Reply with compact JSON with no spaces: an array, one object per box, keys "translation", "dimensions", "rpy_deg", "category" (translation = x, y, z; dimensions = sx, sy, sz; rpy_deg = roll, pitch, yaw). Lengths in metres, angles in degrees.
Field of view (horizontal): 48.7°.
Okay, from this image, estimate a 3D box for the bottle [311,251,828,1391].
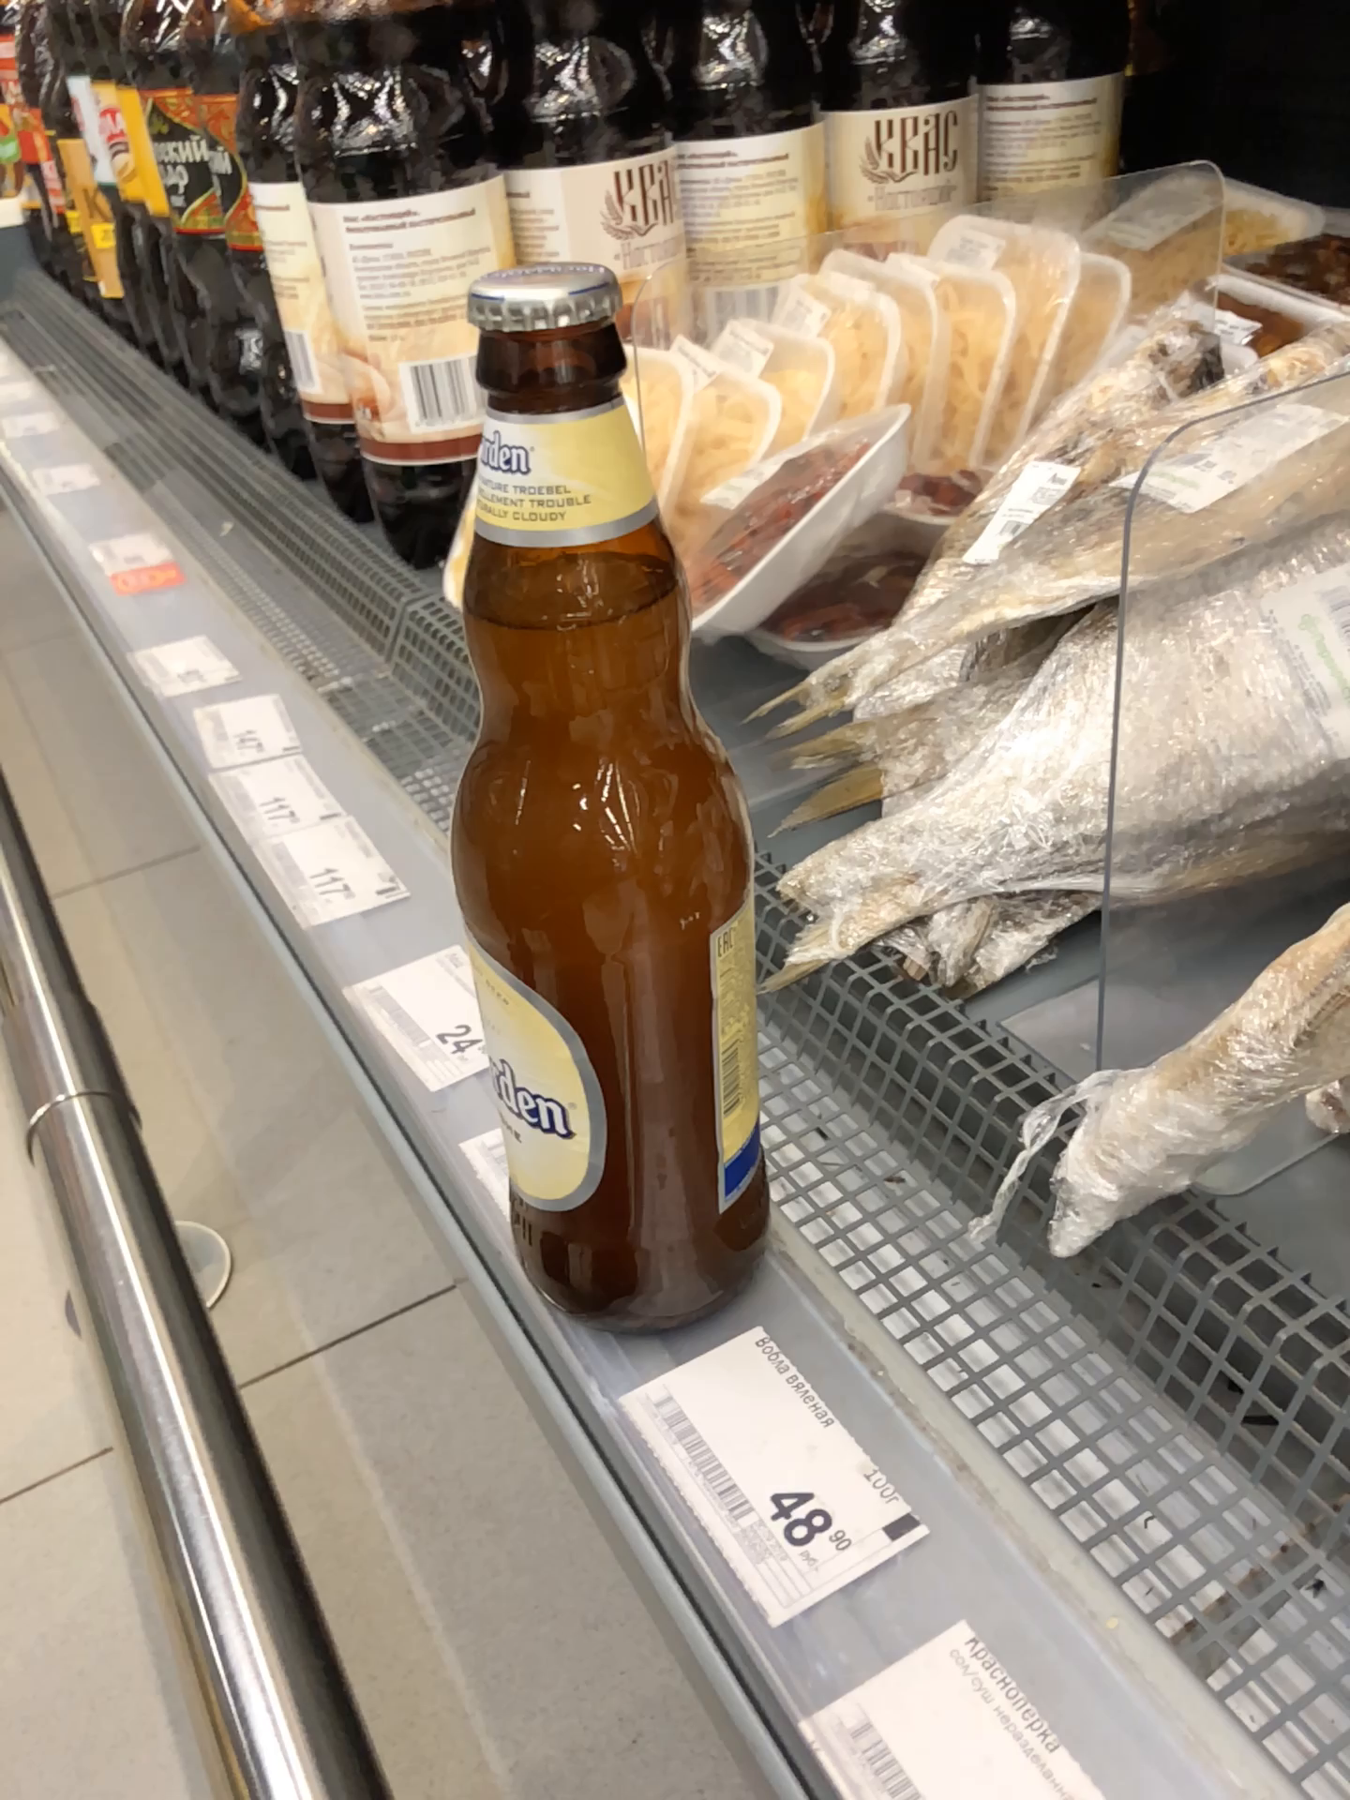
[{"translation":[-0.016,-0.006,0.319],"dimensions":[0.070,0.229,0.070],"rpy_deg":[-5,33,3],"category":"bottle"}]
